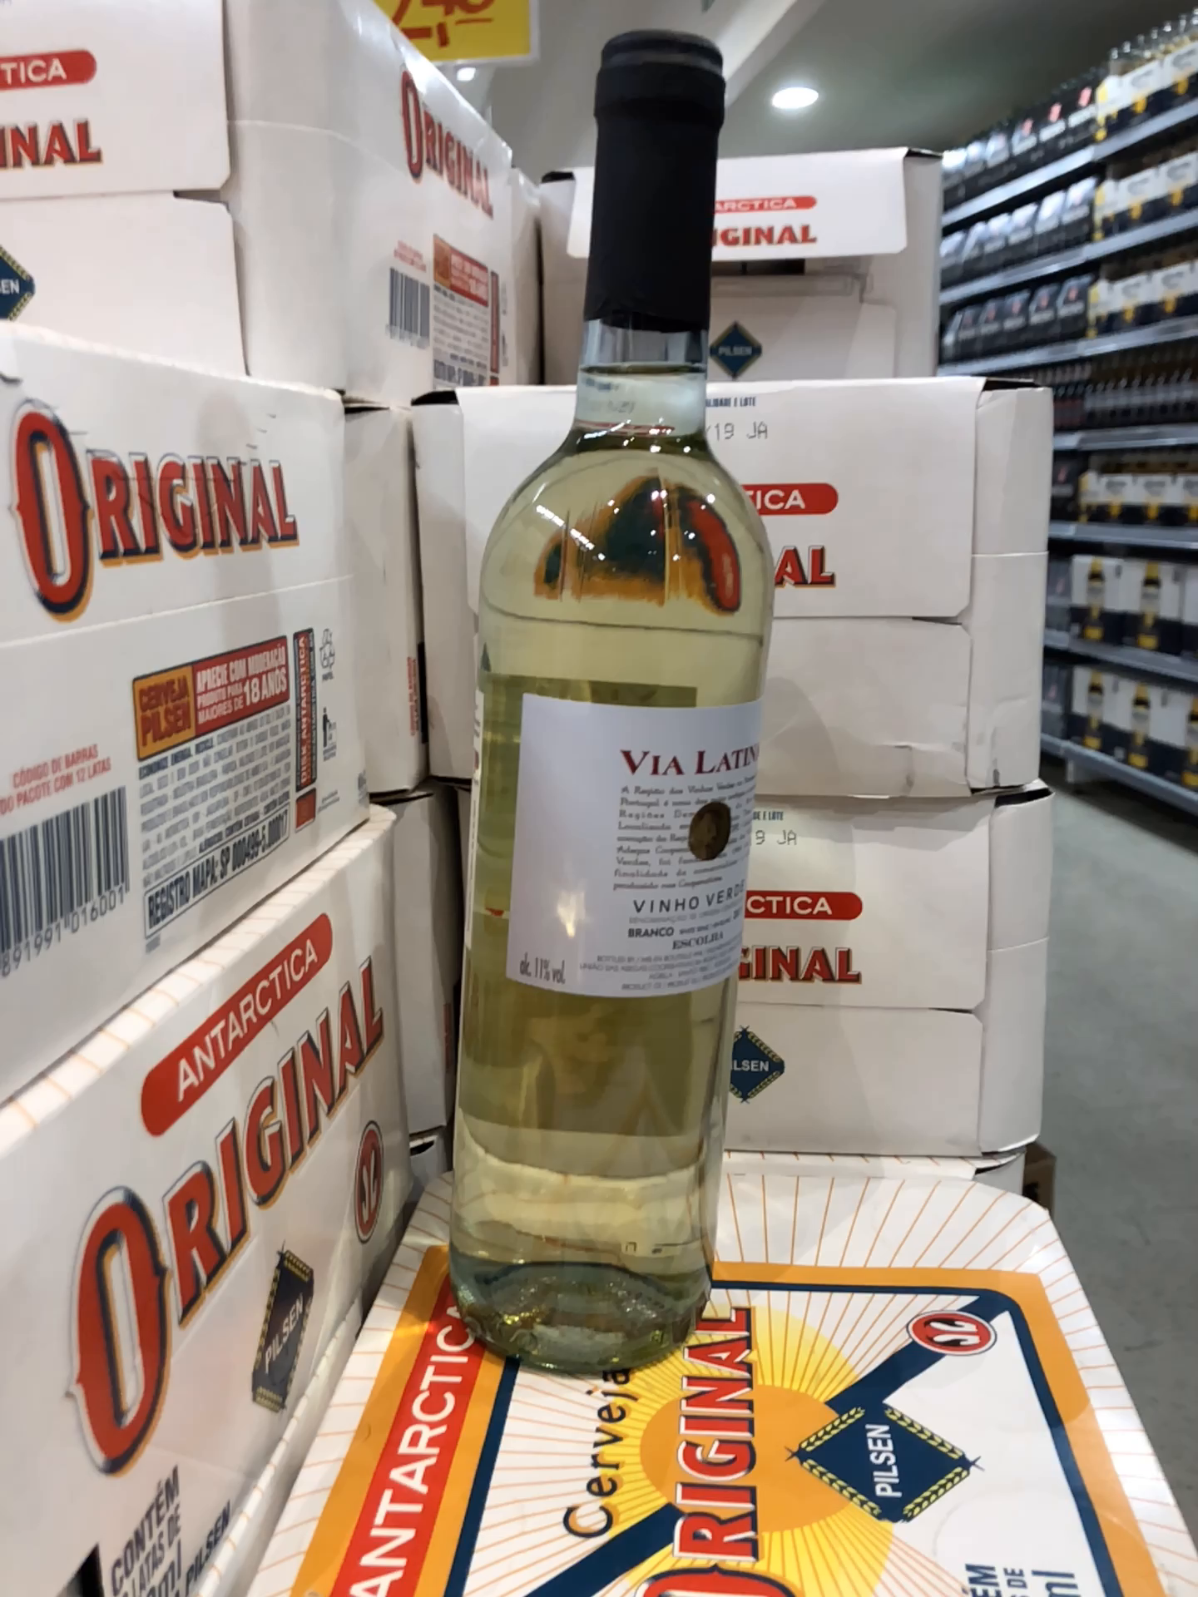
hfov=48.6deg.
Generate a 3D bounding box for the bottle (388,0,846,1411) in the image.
[{"bbox_3d":[0.001,-0.017,0.335,0.080,0.309,0.070,-7,13,-34],"label":"bottle"}]
